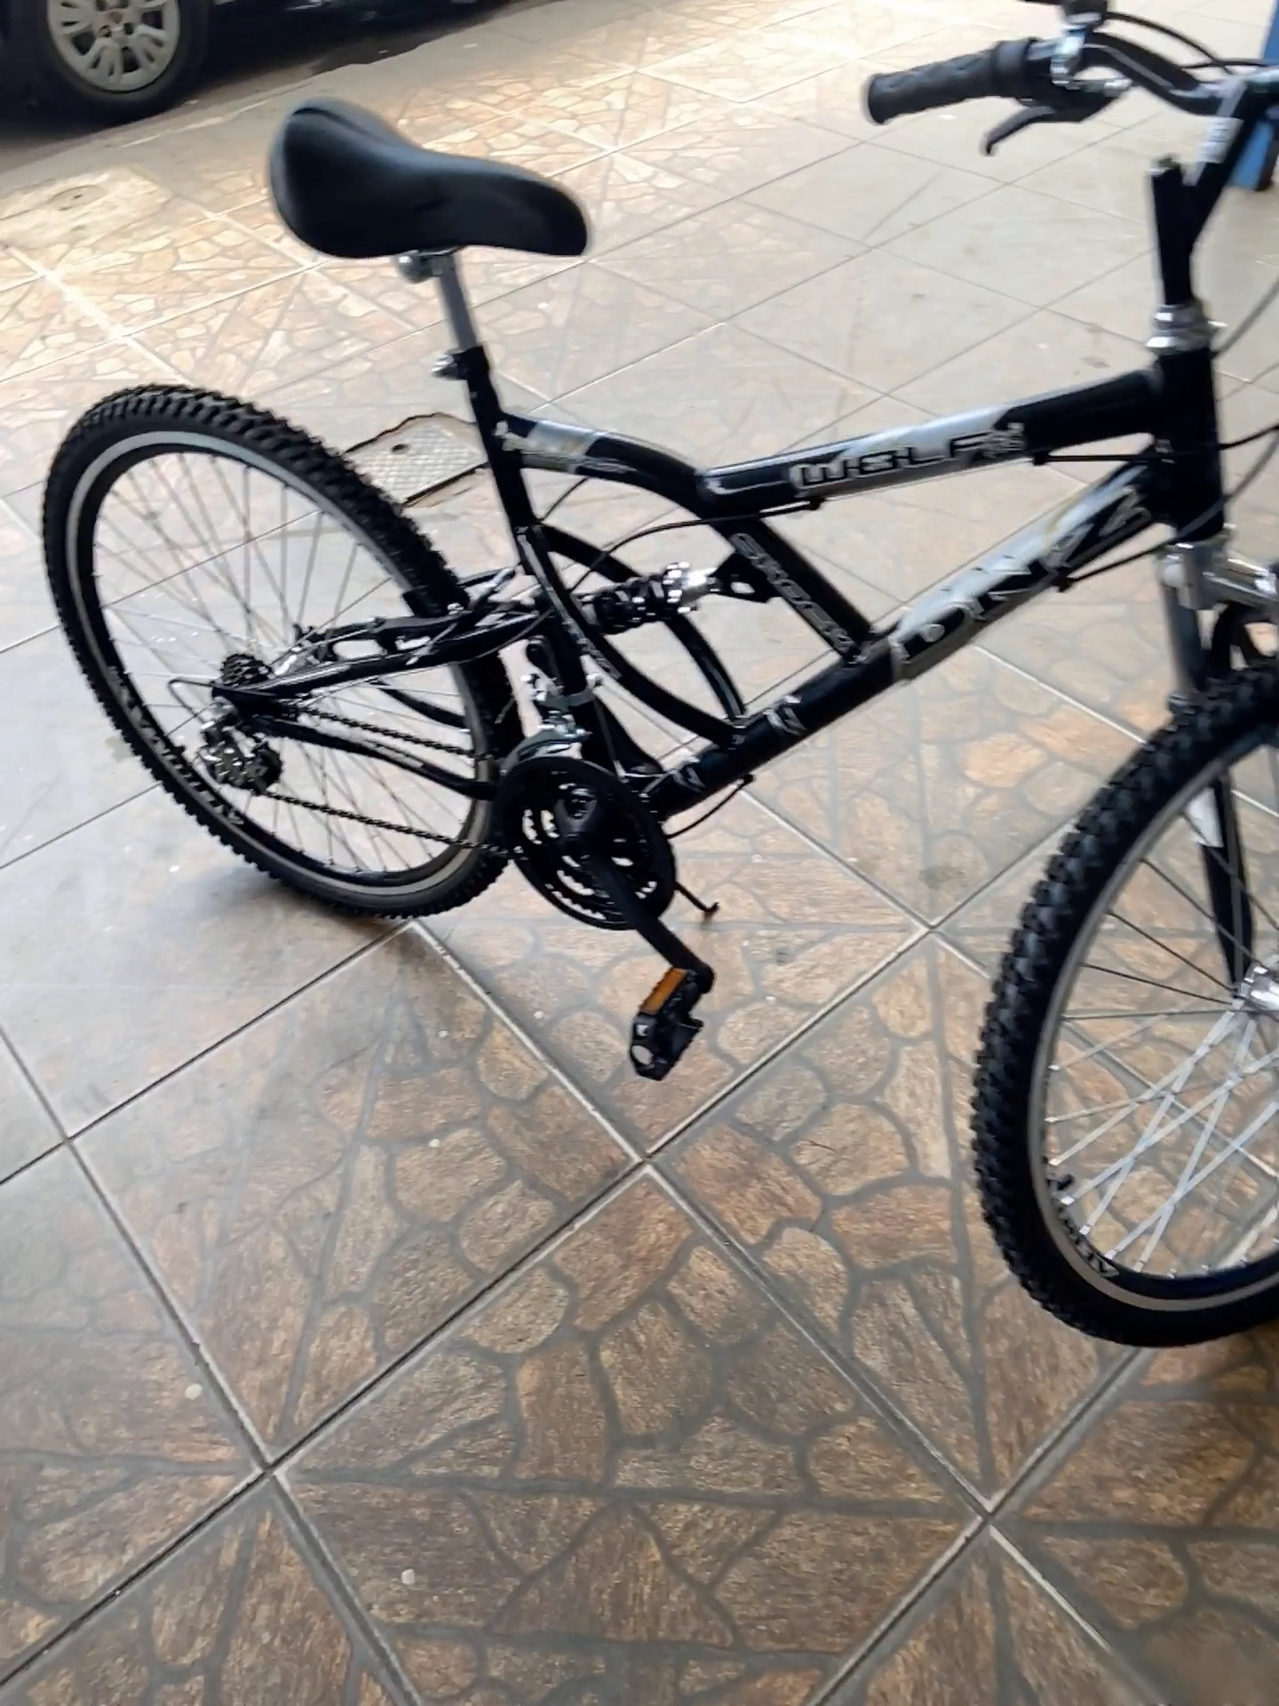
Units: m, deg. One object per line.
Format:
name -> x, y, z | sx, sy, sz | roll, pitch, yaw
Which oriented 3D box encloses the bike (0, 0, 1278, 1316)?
bike -> 0.024, -0.308, 1.144 | 1.585, 1.154, 0.606 | 10, 50, 17
